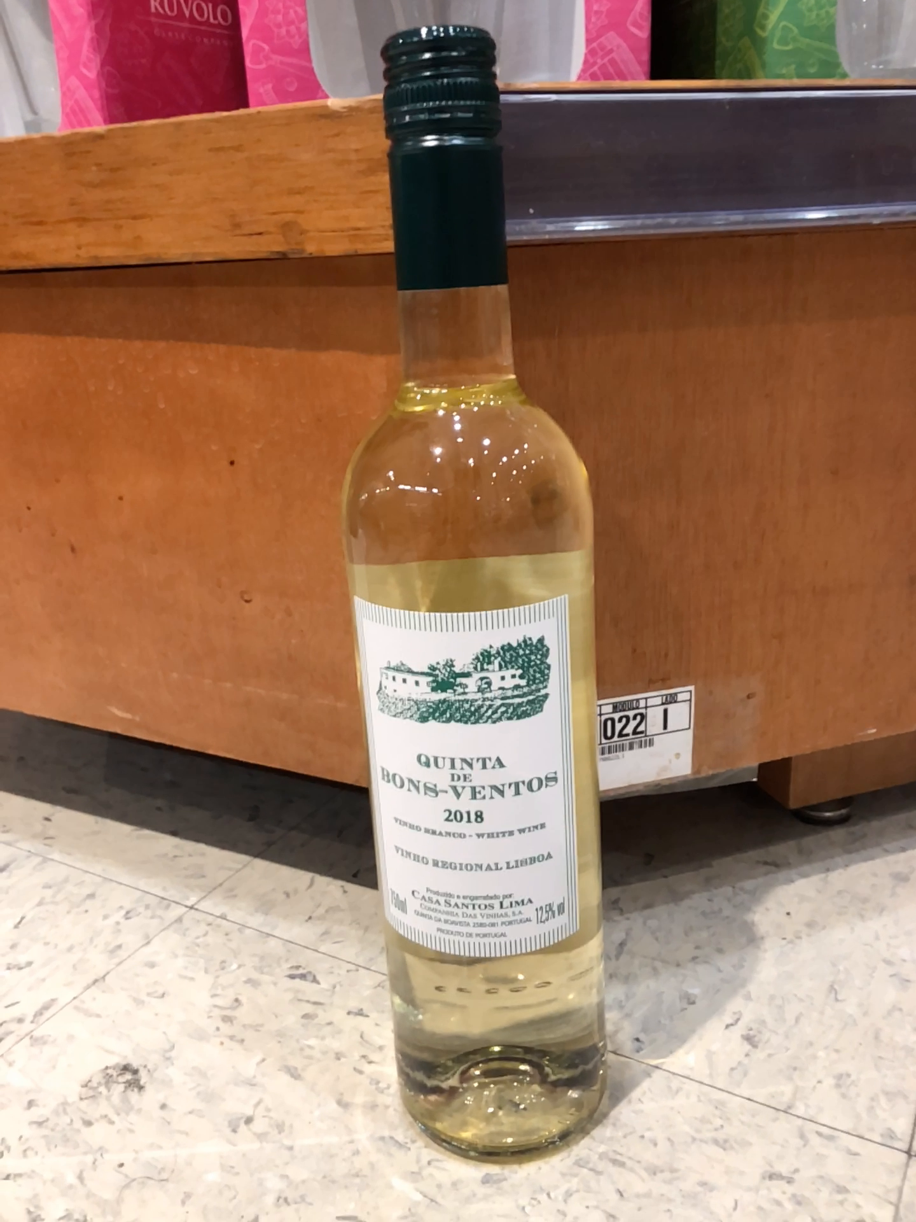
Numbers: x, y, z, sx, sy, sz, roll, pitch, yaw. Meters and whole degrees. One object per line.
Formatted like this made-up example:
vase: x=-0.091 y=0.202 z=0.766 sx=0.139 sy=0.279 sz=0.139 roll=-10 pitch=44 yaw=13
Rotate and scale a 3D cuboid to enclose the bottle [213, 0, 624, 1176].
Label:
bottle: x=0.003 y=0.007 z=0.292 sx=0.080 sy=0.308 sz=0.080 roll=-4 pitch=18 yaw=1
